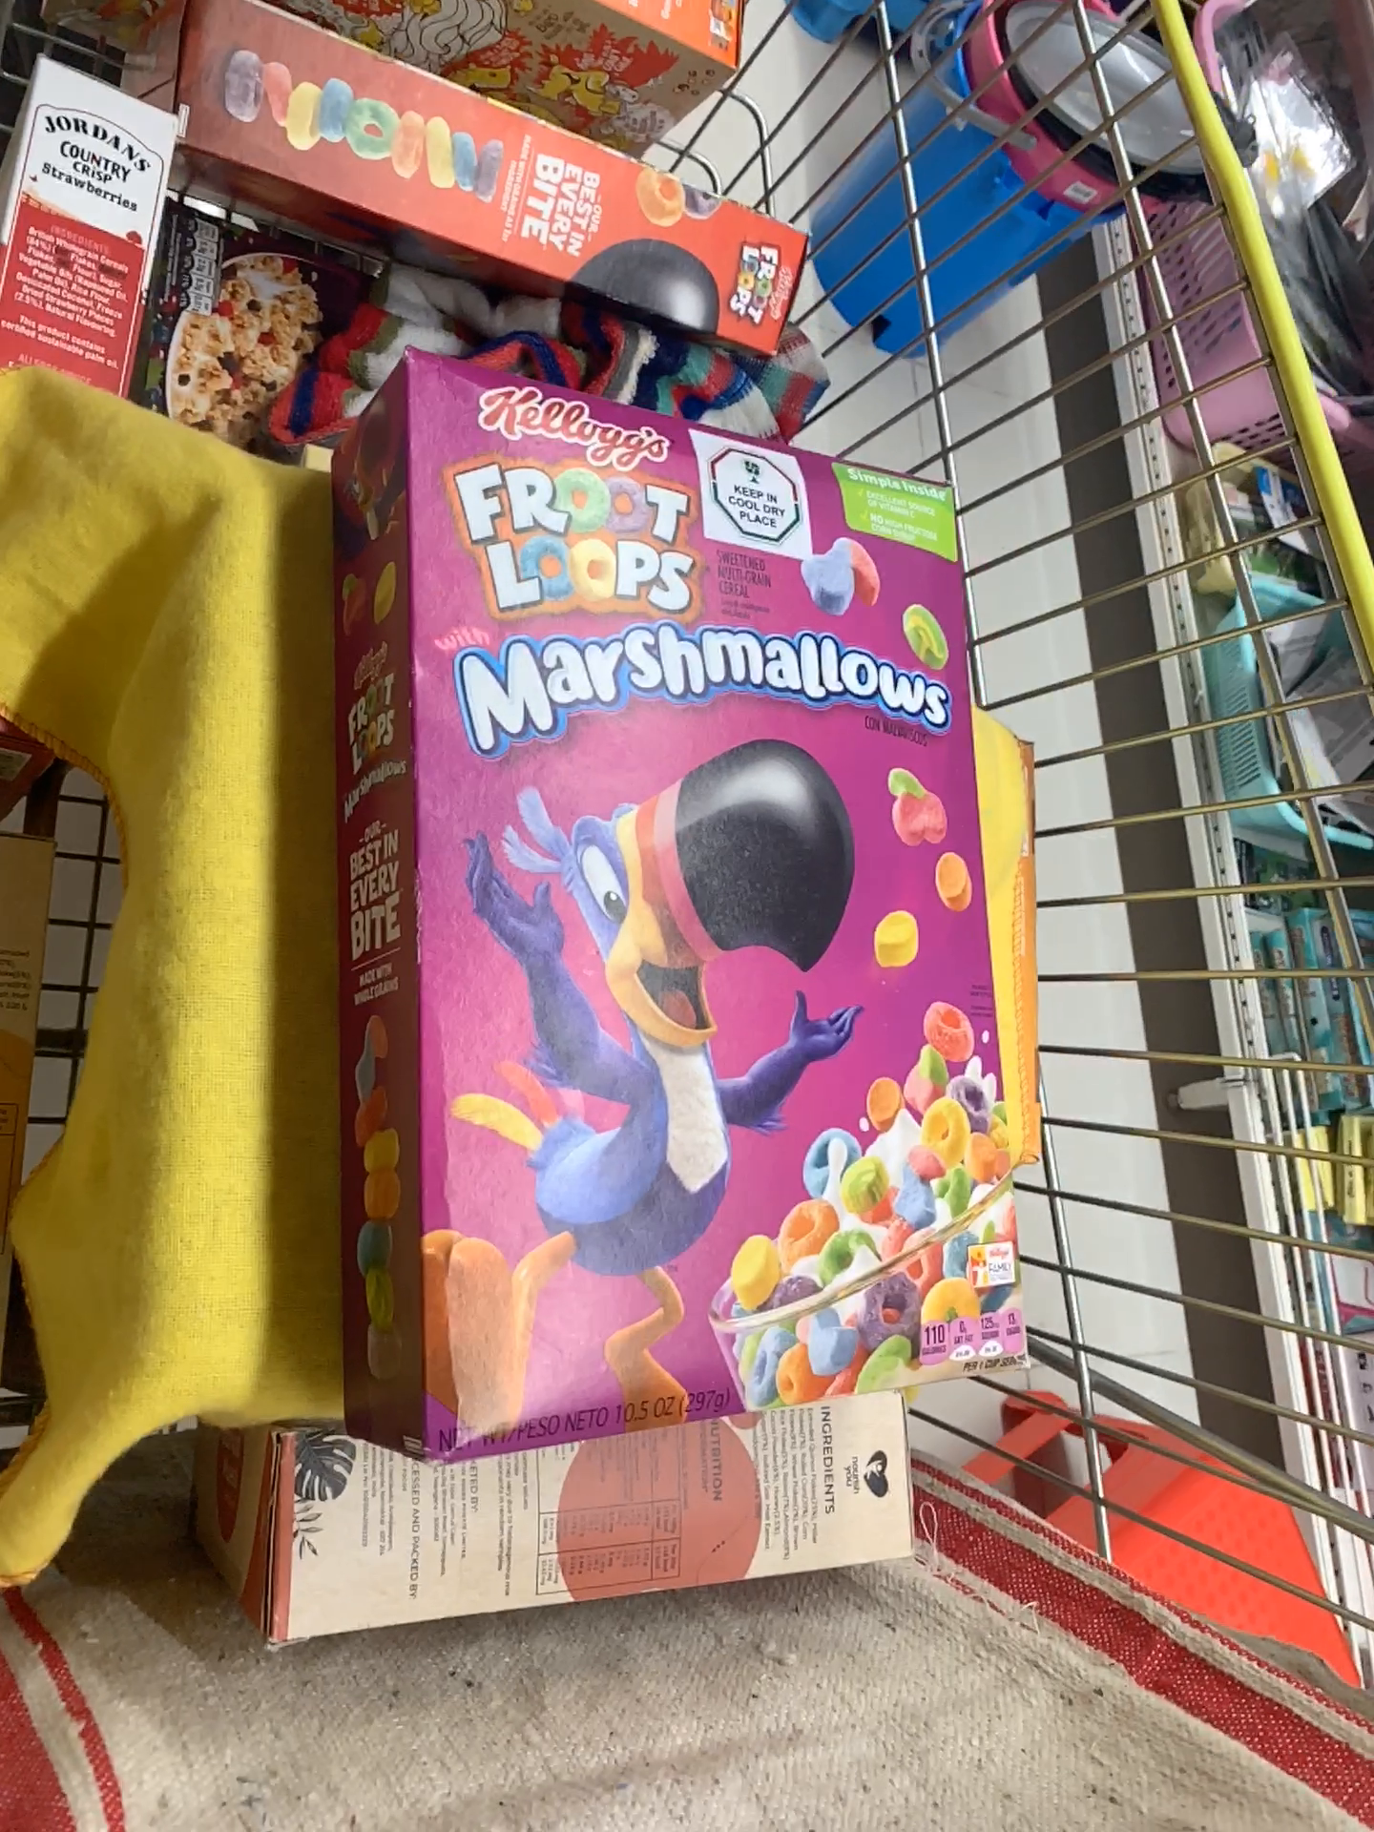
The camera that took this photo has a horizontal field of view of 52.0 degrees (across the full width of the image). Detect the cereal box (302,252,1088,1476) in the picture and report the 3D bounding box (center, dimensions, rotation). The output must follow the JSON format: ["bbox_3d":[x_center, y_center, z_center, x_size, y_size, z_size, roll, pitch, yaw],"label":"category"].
[{"bbox_3d":[0.001,-0.011,0.382,0.191,0.070,0.270,3,78,-31],"label":"cereal box"}]
